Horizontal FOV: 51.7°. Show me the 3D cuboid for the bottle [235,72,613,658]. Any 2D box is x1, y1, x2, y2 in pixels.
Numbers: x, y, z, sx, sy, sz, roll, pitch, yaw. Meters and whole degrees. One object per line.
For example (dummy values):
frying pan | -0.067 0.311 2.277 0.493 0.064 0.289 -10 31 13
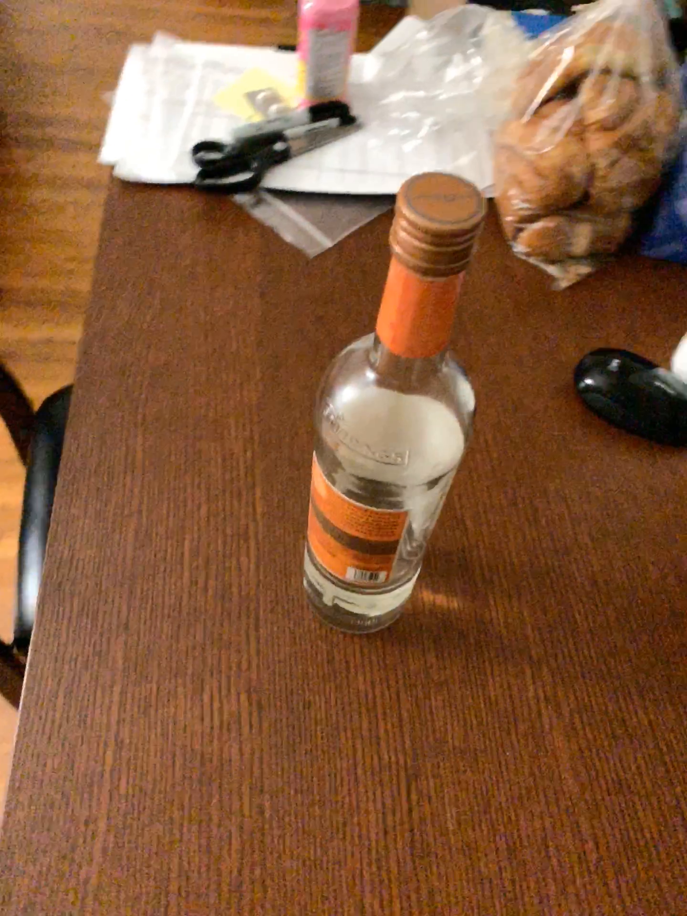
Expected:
bottle | 0.015 -0.007 0.348 0.090 0.299 0.080 36 61 17
